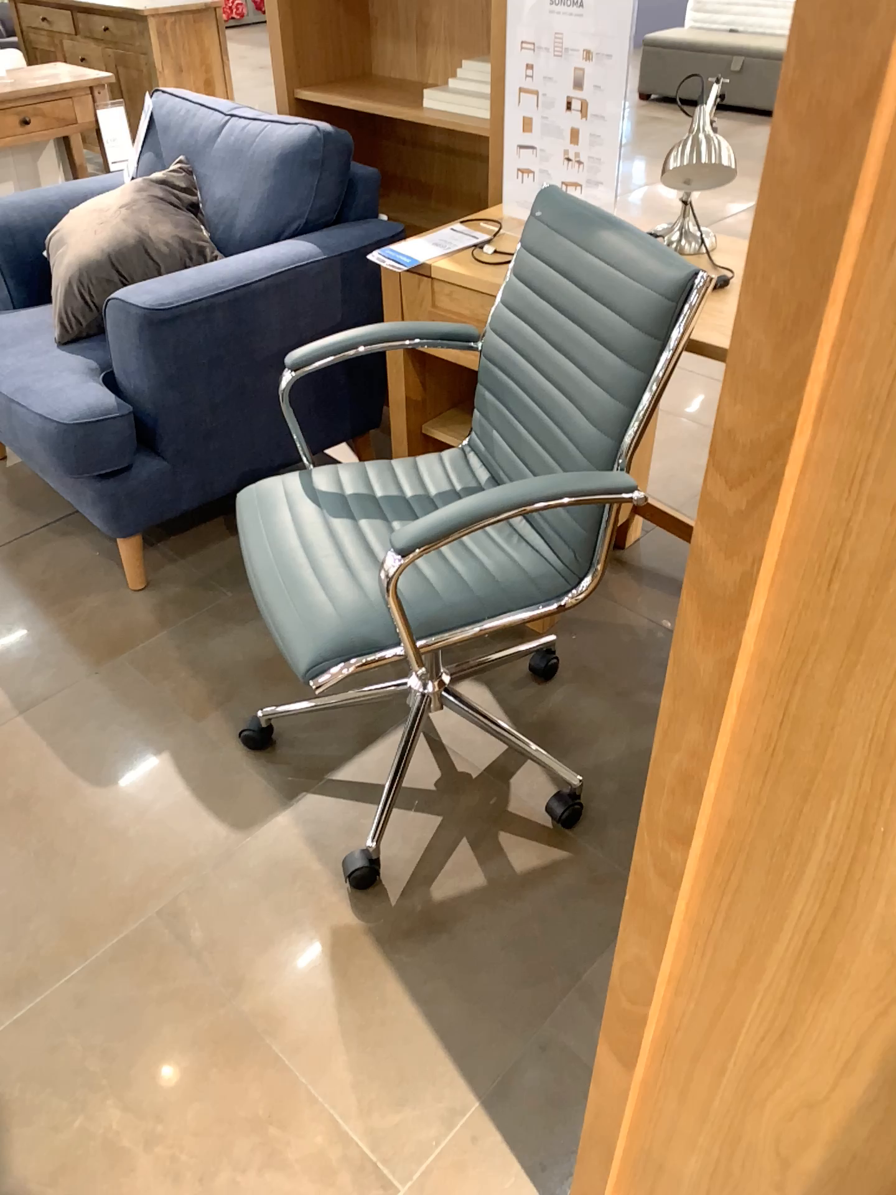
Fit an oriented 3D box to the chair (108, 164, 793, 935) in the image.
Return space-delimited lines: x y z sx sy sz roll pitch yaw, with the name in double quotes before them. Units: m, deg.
"chair" -0.049 -0.107 1.462 0.708 0.883 0.670 -13 40 -15
